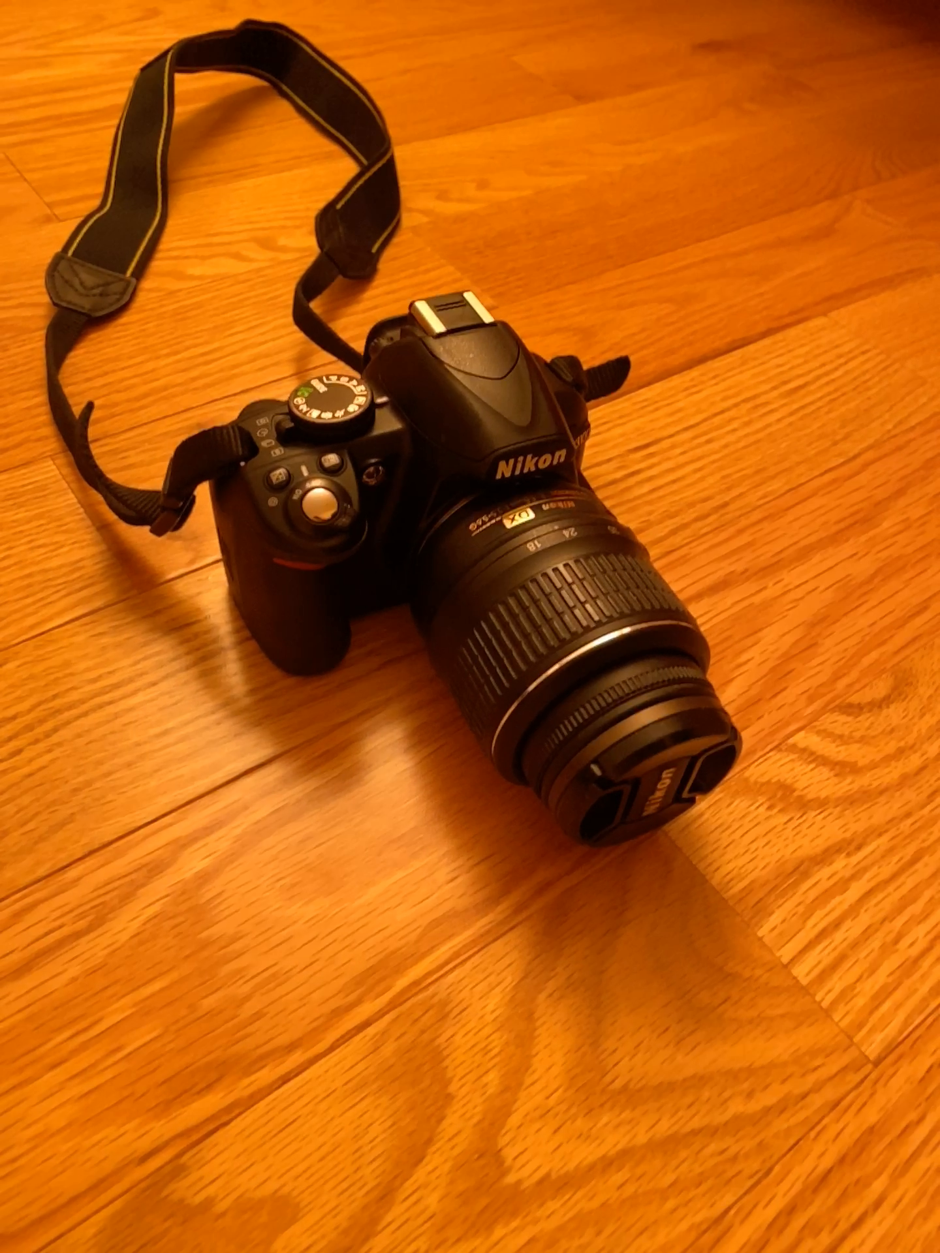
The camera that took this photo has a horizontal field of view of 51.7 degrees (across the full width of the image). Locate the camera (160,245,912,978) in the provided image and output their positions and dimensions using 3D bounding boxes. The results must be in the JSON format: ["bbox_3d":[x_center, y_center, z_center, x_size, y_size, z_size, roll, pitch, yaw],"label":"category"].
[{"bbox_3d":[0.005,-0.016,0.286,0.130,0.099,0.161,-20,54,-21],"label":"camera"}]
